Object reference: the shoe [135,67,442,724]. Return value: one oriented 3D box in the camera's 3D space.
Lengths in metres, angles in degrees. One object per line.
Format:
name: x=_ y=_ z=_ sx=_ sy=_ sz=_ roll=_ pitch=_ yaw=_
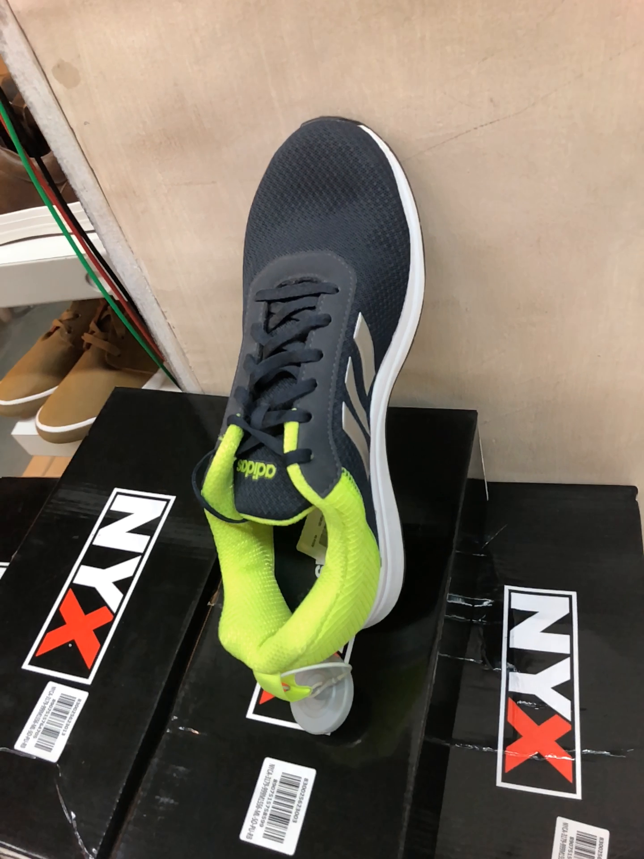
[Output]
shoe: x=-0.010 y=-0.016 z=0.358 sx=0.104 sy=0.098 sz=0.272 roll=2 pitch=86 yaw=24
